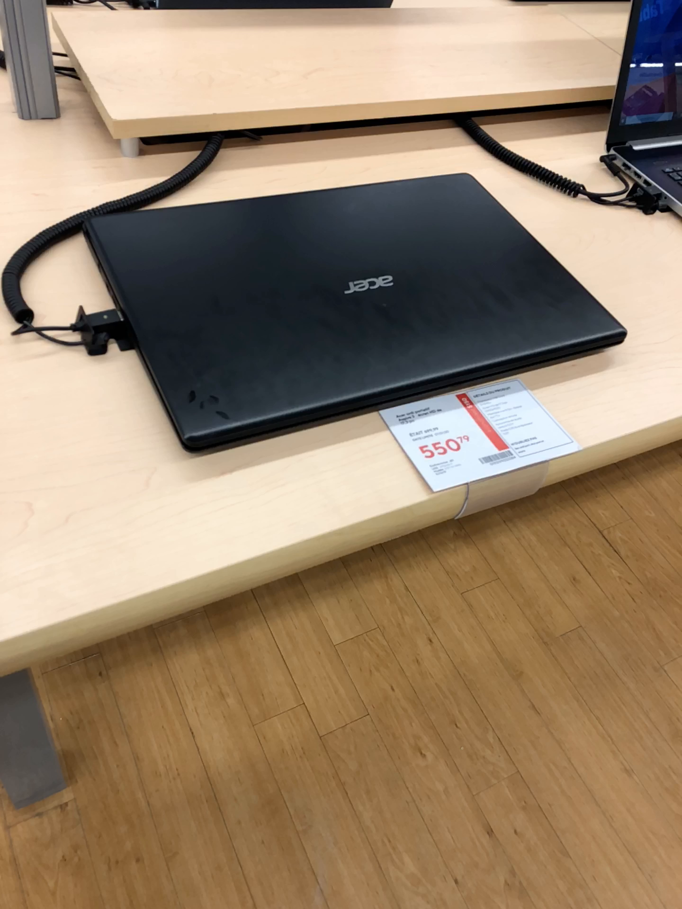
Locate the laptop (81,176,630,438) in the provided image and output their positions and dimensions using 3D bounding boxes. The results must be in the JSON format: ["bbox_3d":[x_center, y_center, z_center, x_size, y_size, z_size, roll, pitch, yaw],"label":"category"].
[{"bbox_3d":[0.017,-0.158,0.666,0.417,0.001,0.267,-15,55,-23],"label":"laptop"}]
